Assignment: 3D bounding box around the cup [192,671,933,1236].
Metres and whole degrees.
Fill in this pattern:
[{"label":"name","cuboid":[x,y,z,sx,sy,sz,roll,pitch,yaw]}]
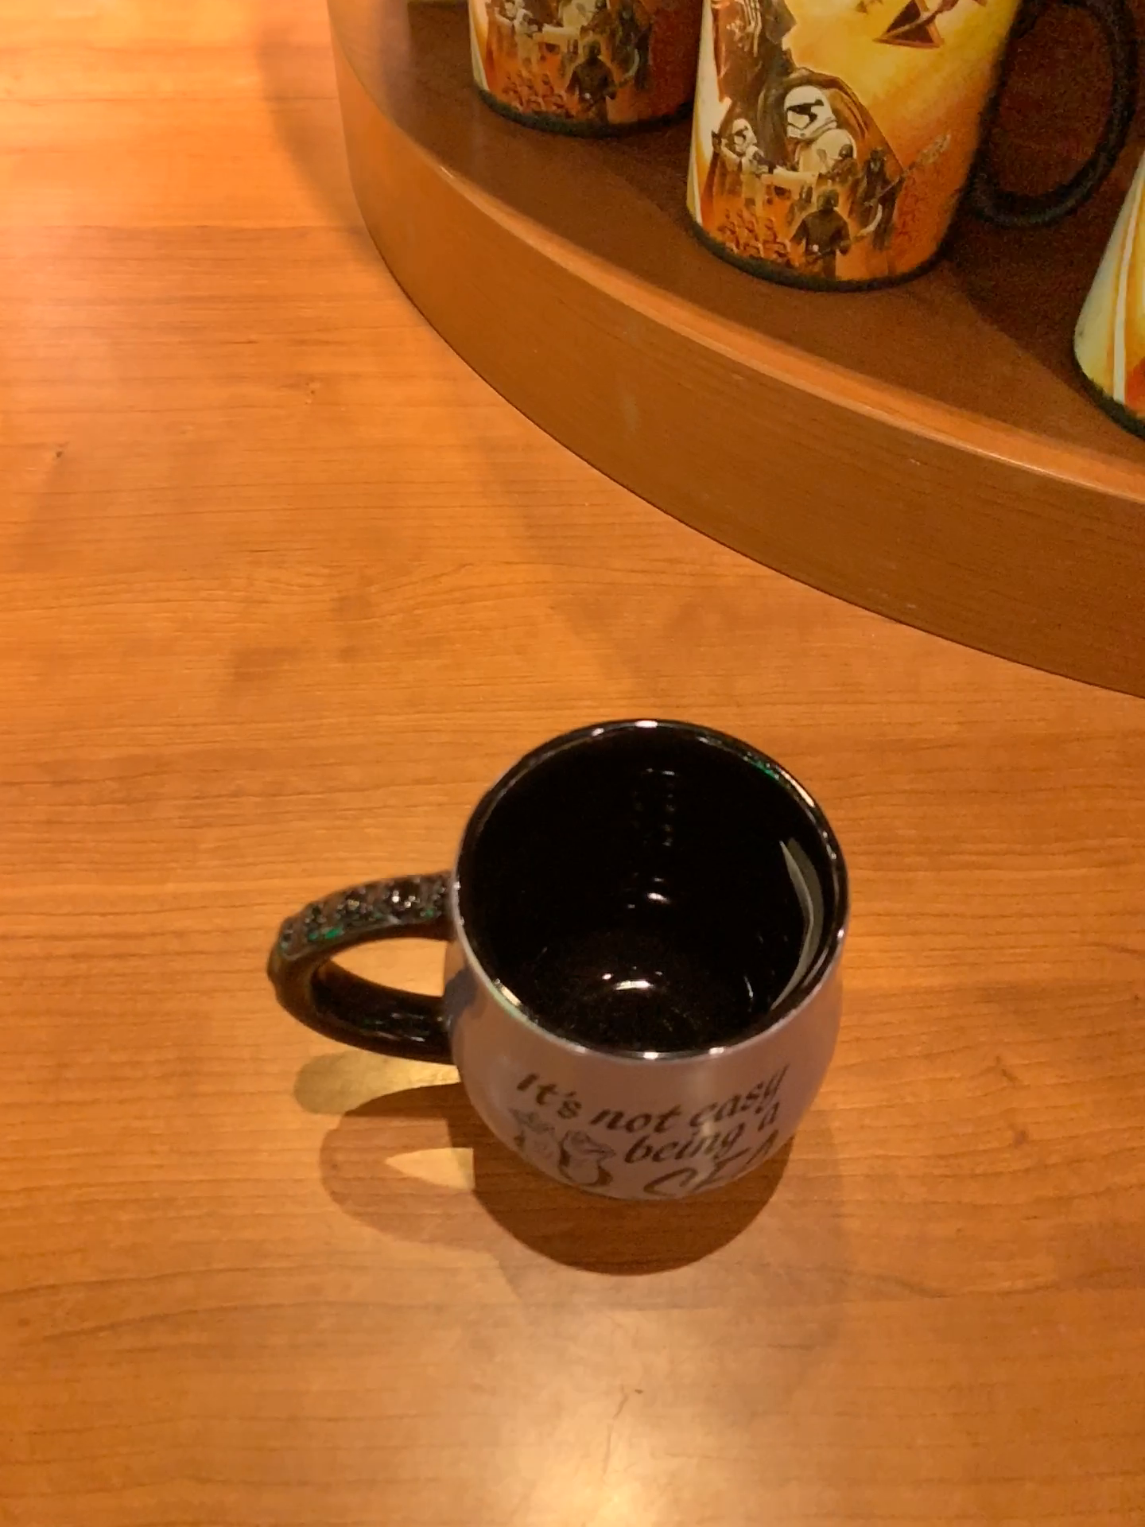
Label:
[{"label":"cup","cuboid":[-0.004,0.044,0.259,0.125,0.089,0.087,-2,54,-2]}]
